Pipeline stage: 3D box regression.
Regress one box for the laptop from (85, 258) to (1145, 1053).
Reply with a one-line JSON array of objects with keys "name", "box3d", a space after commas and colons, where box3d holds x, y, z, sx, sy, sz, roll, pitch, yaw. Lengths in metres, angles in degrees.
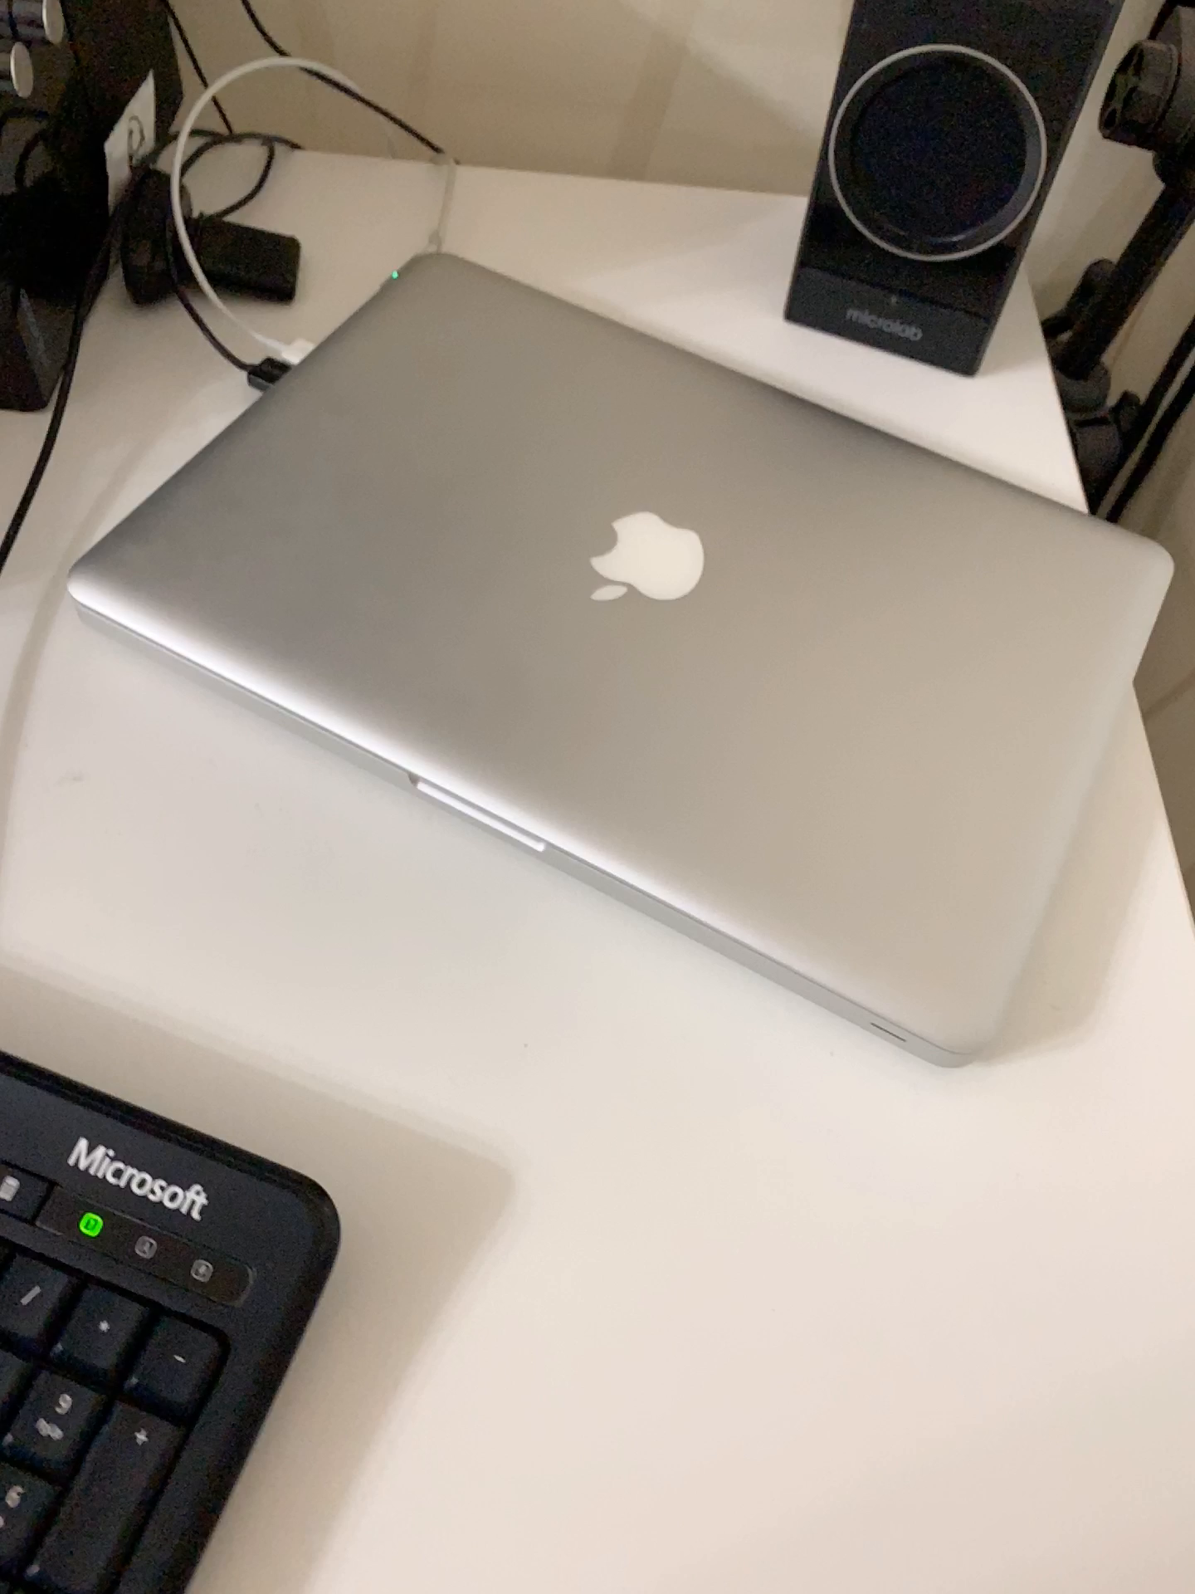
[{"name": "laptop", "box3d": [0.012, -0.075, 0.426, 0.304, 0.011, 0.208, 27, 60, 13]}]
